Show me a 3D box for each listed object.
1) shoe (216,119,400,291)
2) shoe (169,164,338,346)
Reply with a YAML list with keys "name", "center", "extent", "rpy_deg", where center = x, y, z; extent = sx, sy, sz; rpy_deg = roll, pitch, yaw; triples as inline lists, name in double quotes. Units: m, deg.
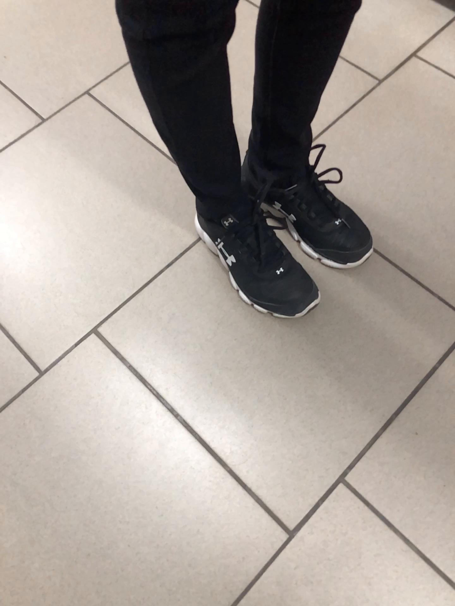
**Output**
- name: "shoe"
  center: [0.118, -0.159, 0.792]
  extent: [0.110, 0.090, 0.270]
  rpy_deg: [-42, 70, -15]
- name: "shoe"
  center: [0.034, -0.077, 0.770]
  extent: [0.110, 0.090, 0.260]
  rpy_deg: [-35, 68, -13]
